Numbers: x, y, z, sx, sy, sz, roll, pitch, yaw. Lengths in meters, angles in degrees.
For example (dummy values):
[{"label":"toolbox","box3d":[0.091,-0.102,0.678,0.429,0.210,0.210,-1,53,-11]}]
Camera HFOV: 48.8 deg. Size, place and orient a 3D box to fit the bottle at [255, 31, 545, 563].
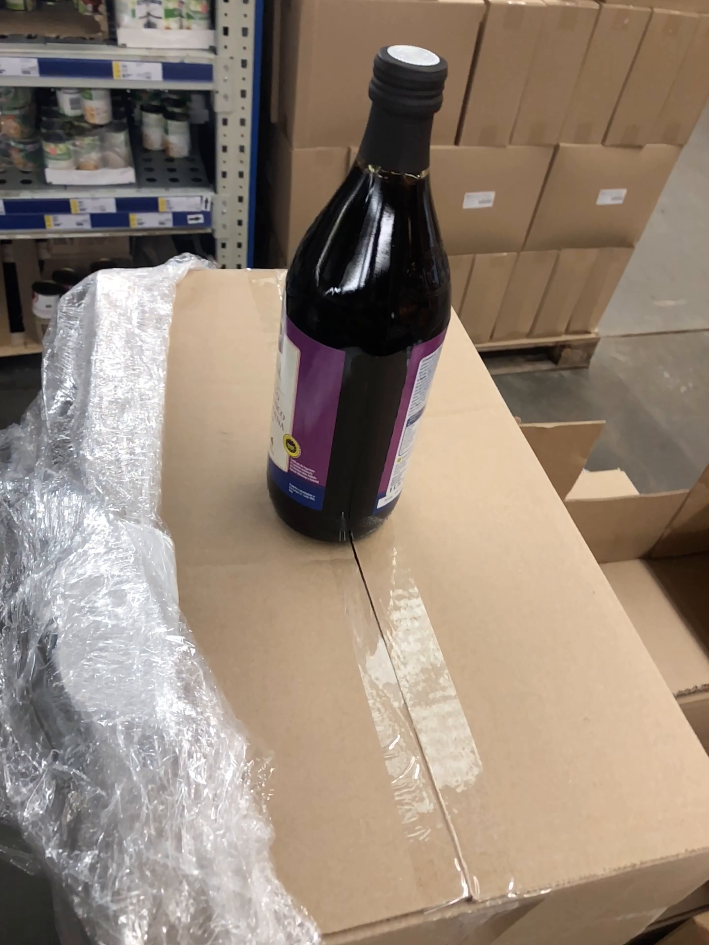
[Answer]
[{"label":"bottle","box3d":[0.003,-0.072,0.409,0.090,0.257,0.091,5,45,-5]}]
